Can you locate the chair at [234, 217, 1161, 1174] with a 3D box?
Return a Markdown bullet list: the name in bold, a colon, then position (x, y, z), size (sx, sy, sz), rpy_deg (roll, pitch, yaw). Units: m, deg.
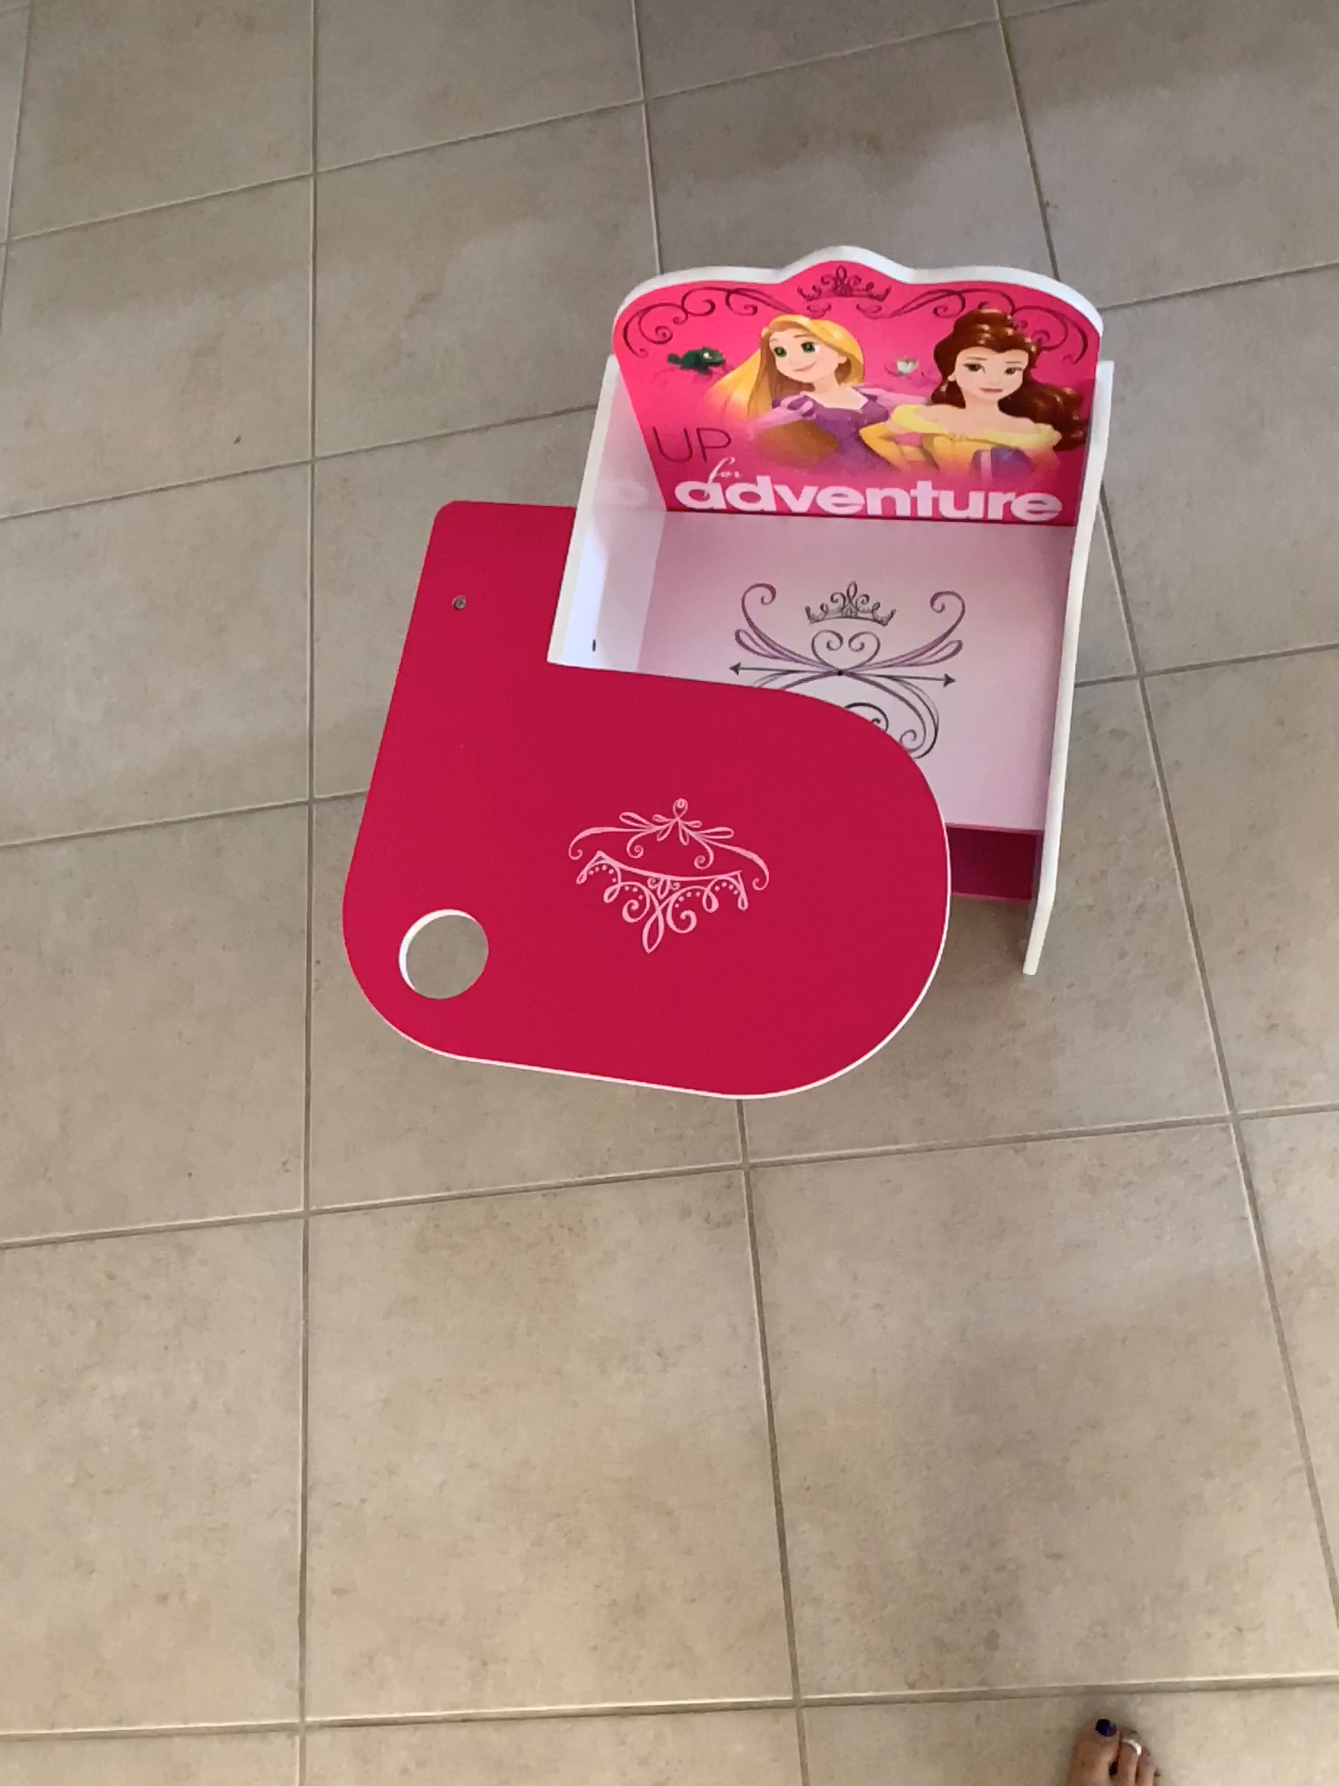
- **chair**: position (0.079, -0.107, 1.130), size (0.531, 0.570, 0.550), rpy_deg (4, 72, 13)
